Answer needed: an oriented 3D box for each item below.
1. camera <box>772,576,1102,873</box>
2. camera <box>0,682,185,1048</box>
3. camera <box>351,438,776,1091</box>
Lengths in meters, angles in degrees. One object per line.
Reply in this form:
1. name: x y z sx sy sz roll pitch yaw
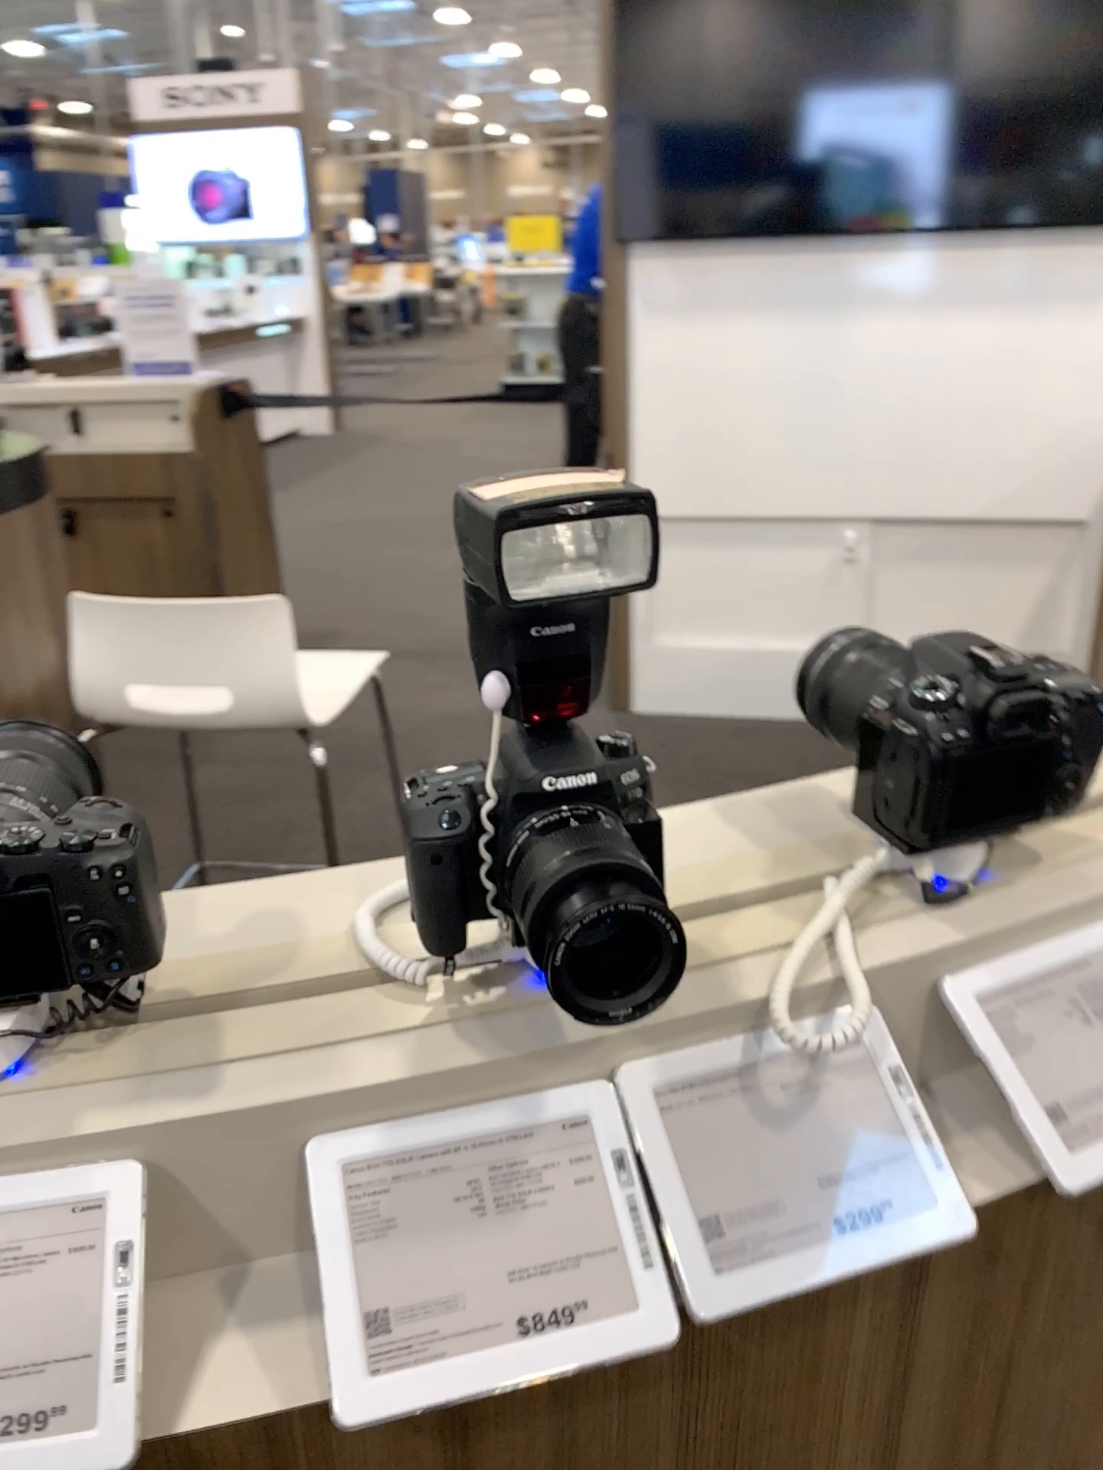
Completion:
1. camera: 0.235 -0.015 0.676 0.140 0.103 0.166 -9 24 -15
2. camera: -0.276 0.057 0.595 0.140 0.103 0.166 -7 24 -11
3. camera: -0.003 0.000 0.526 0.140 0.232 0.177 -7 24 -12
